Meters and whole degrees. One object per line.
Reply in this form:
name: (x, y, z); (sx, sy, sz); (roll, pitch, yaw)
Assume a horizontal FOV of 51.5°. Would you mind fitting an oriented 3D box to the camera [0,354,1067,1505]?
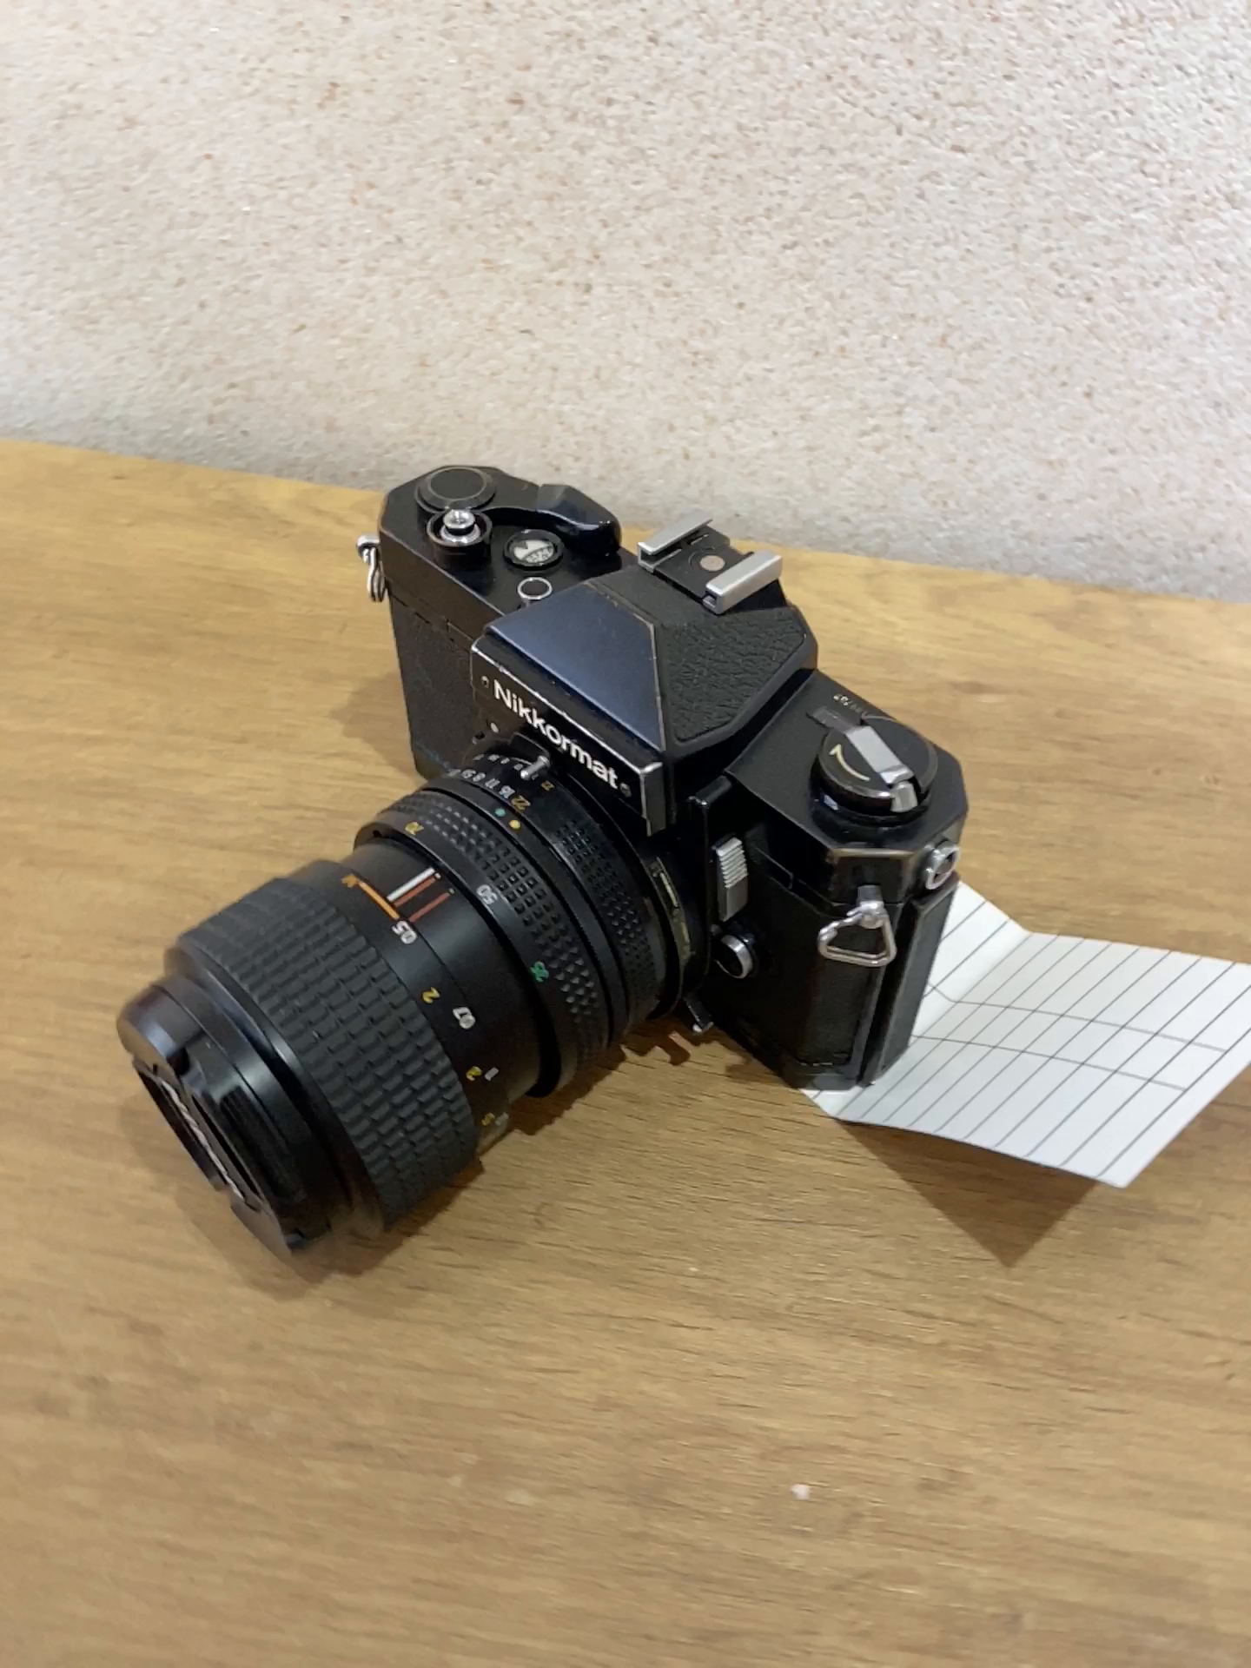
camera: (-0.035, -0.001, 0.250); (0.140, 0.089, 0.160); (-31, 54, -28)
